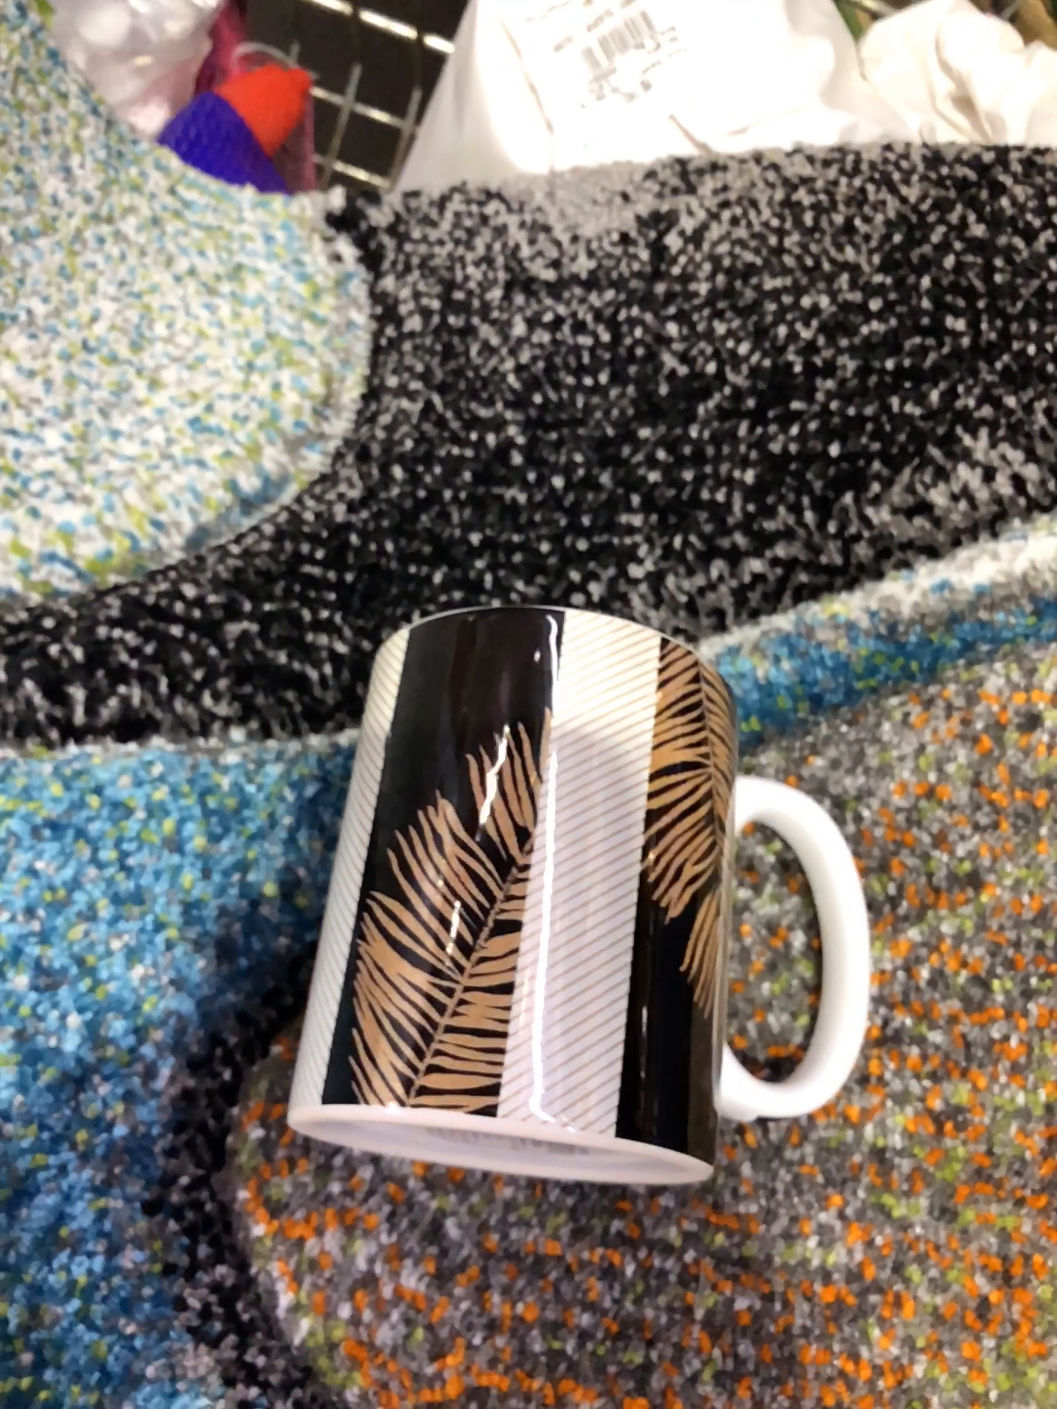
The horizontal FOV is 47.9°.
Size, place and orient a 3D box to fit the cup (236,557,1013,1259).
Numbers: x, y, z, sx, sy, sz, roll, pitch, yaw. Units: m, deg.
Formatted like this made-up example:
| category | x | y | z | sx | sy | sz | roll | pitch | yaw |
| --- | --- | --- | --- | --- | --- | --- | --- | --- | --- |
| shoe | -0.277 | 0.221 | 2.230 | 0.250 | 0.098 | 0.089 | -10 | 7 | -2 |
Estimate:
| category | x | y | z | sx | sy | sz | roll | pitch | yaw |
| --- | --- | --- | --- | --- | --- | --- | --- | --- | --- |
| cup | 0.019 | 0.046 | 0.233 | 0.120 | 0.070 | 0.100 | 15 | 64 | -19 |
